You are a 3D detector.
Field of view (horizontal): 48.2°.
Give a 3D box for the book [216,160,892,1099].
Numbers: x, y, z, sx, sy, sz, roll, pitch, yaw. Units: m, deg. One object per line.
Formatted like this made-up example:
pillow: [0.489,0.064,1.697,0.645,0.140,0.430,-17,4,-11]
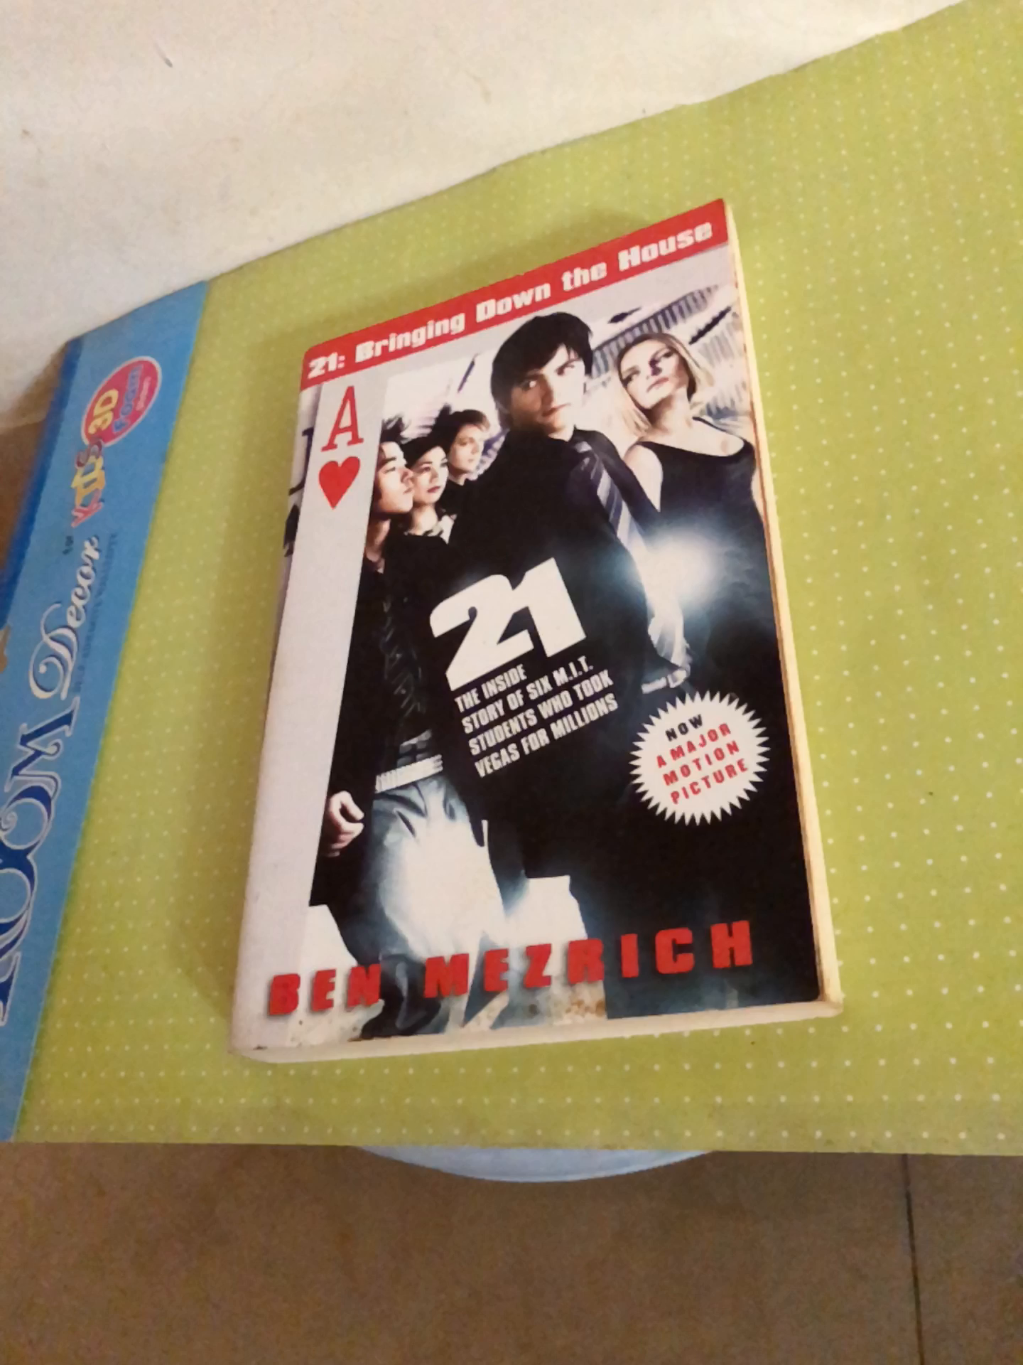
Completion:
book: [0.006,-0.016,0.278,0.130,0.040,0.210,-12,60,22]
